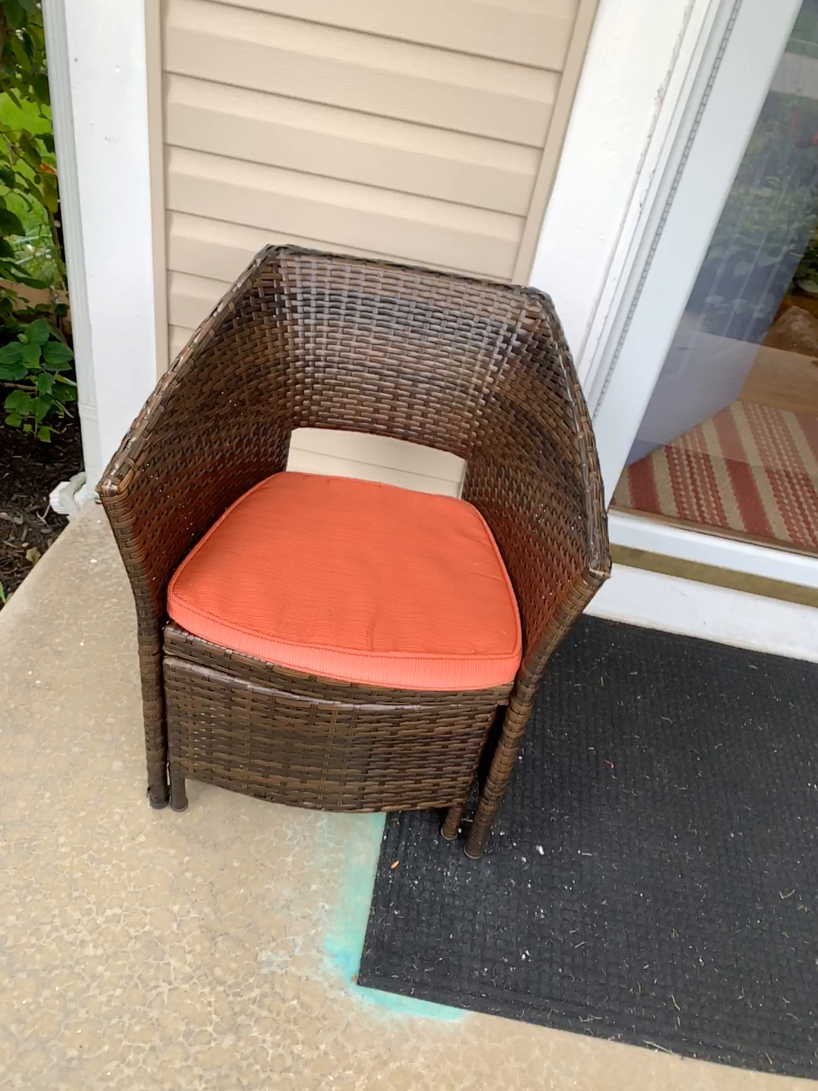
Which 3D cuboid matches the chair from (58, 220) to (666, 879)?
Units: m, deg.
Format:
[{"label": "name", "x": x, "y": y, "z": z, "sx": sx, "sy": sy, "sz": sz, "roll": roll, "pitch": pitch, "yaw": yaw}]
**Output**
[{"label": "chair", "x": -0.090, "y": 0.011, "z": 1.348, "sx": 0.641, "sy": 0.757, "sz": 0.610, "roll": 8, "pitch": 38, "yaw": -4}]
